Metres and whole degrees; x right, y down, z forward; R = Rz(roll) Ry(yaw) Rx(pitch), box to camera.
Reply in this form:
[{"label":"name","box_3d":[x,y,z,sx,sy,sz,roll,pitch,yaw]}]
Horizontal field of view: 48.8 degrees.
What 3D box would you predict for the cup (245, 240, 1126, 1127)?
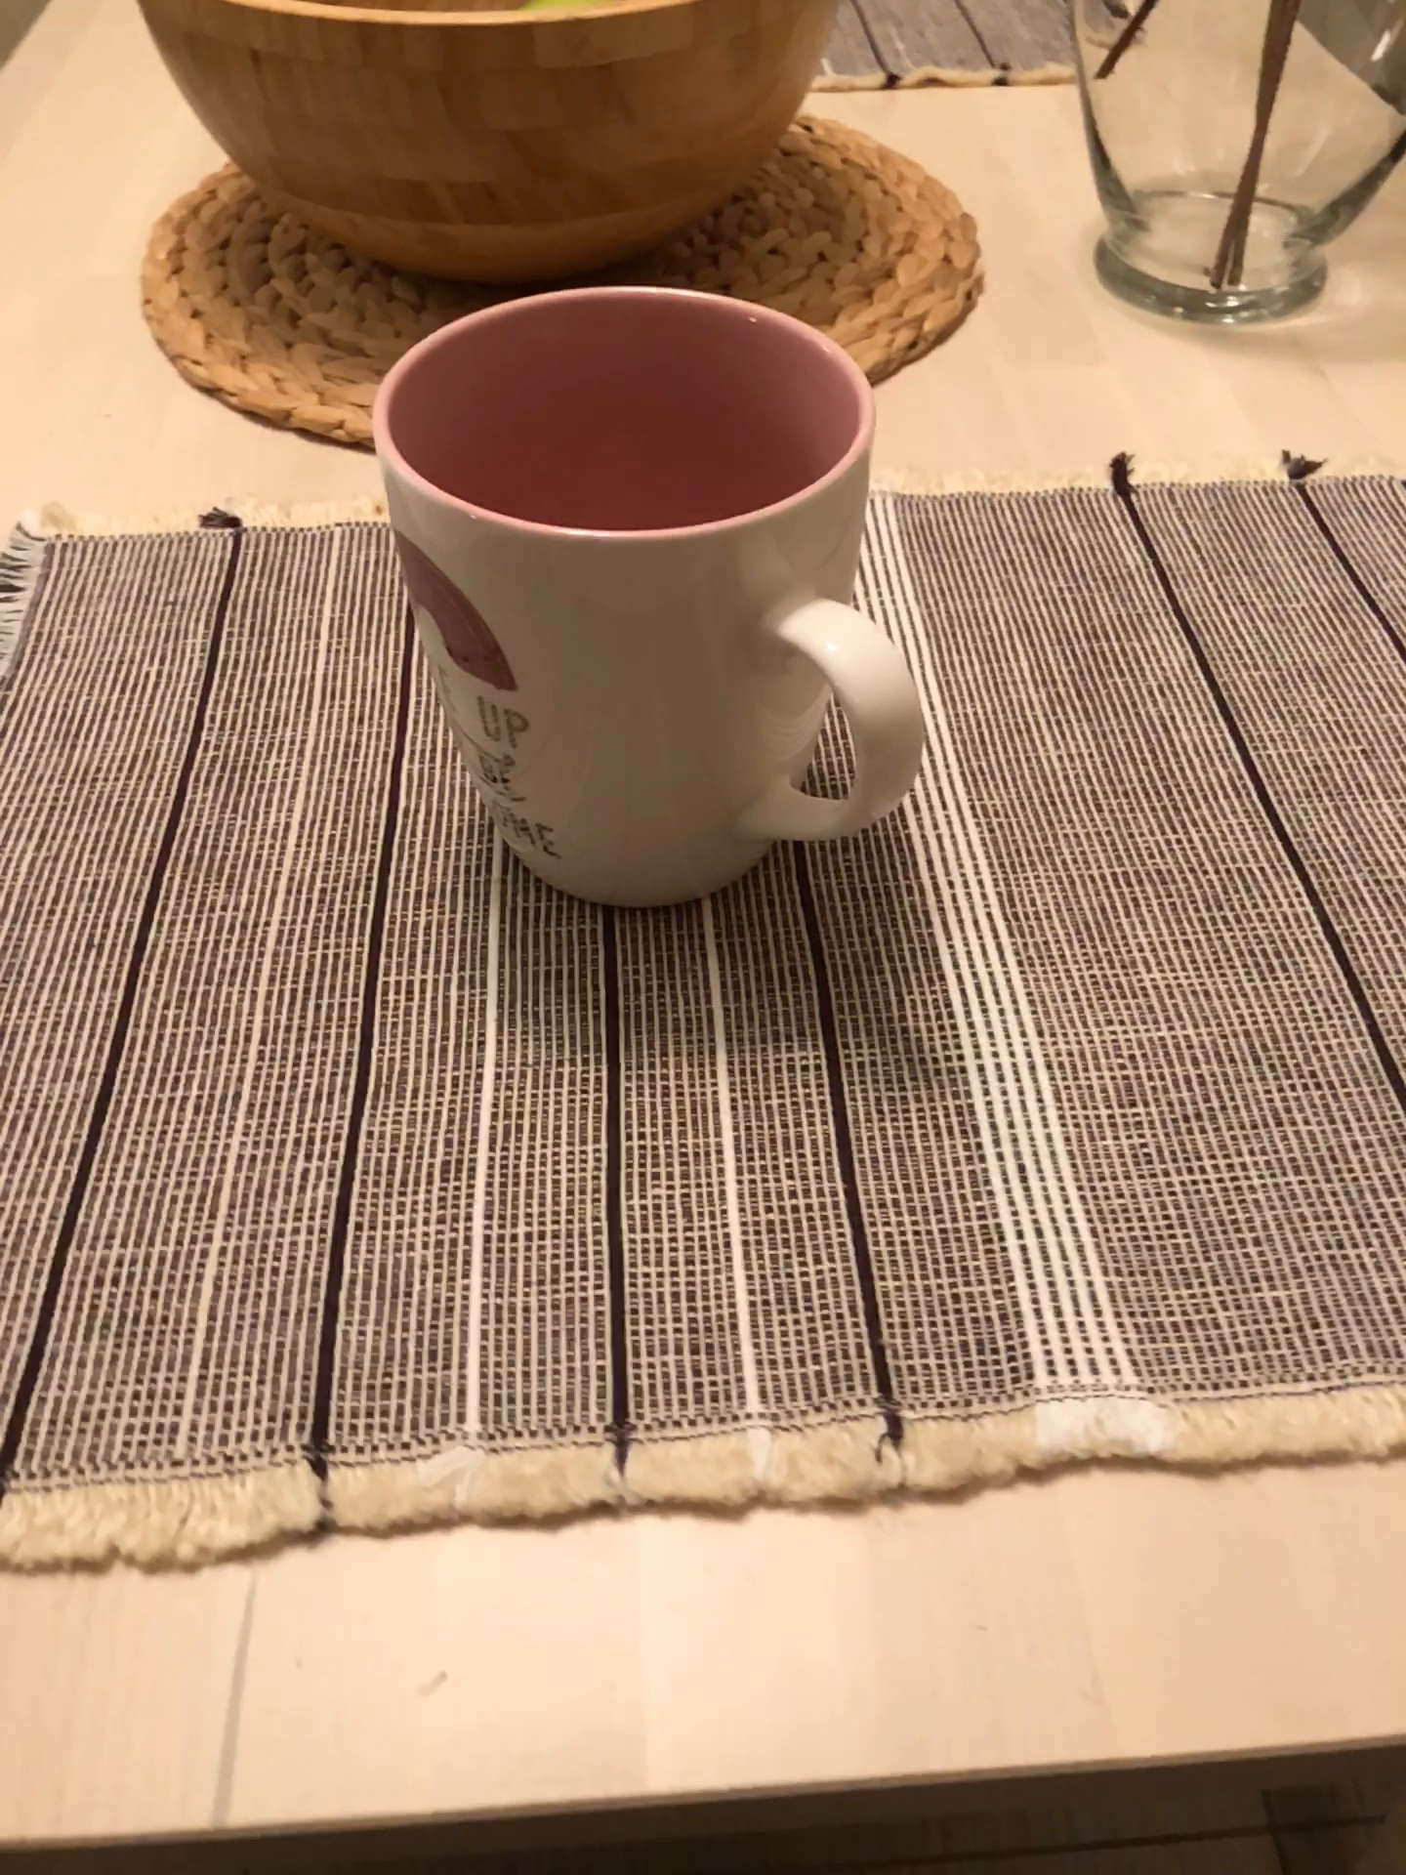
[{"label":"cup","box_3d":[-0.009,-0.070,0.383,0.120,0.119,0.160,-30,53,-25]}]
